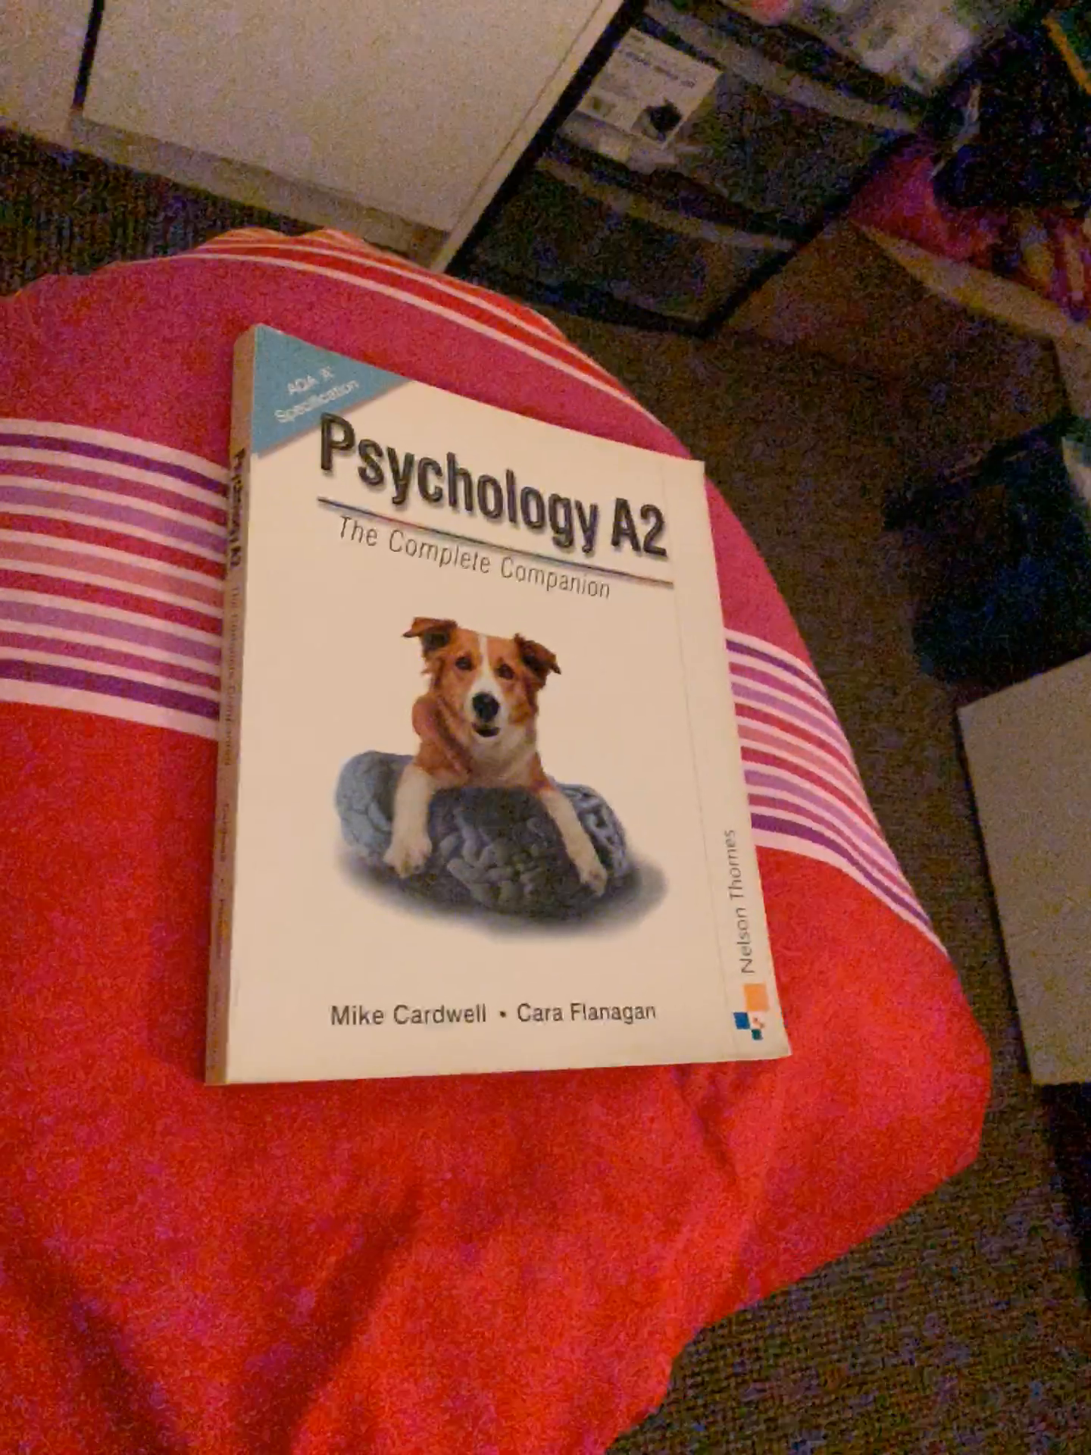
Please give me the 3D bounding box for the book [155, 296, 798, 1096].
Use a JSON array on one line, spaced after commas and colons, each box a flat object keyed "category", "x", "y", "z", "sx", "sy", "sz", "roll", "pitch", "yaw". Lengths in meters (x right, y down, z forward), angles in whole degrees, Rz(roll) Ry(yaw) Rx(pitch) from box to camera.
[{"category": "book", "x": -0.022, "y": -0.010, "z": 0.456, "sx": 0.241, "sy": 0.040, "sz": 0.291, "roll": 7, "pitch": 68, "yaw": -29}]
